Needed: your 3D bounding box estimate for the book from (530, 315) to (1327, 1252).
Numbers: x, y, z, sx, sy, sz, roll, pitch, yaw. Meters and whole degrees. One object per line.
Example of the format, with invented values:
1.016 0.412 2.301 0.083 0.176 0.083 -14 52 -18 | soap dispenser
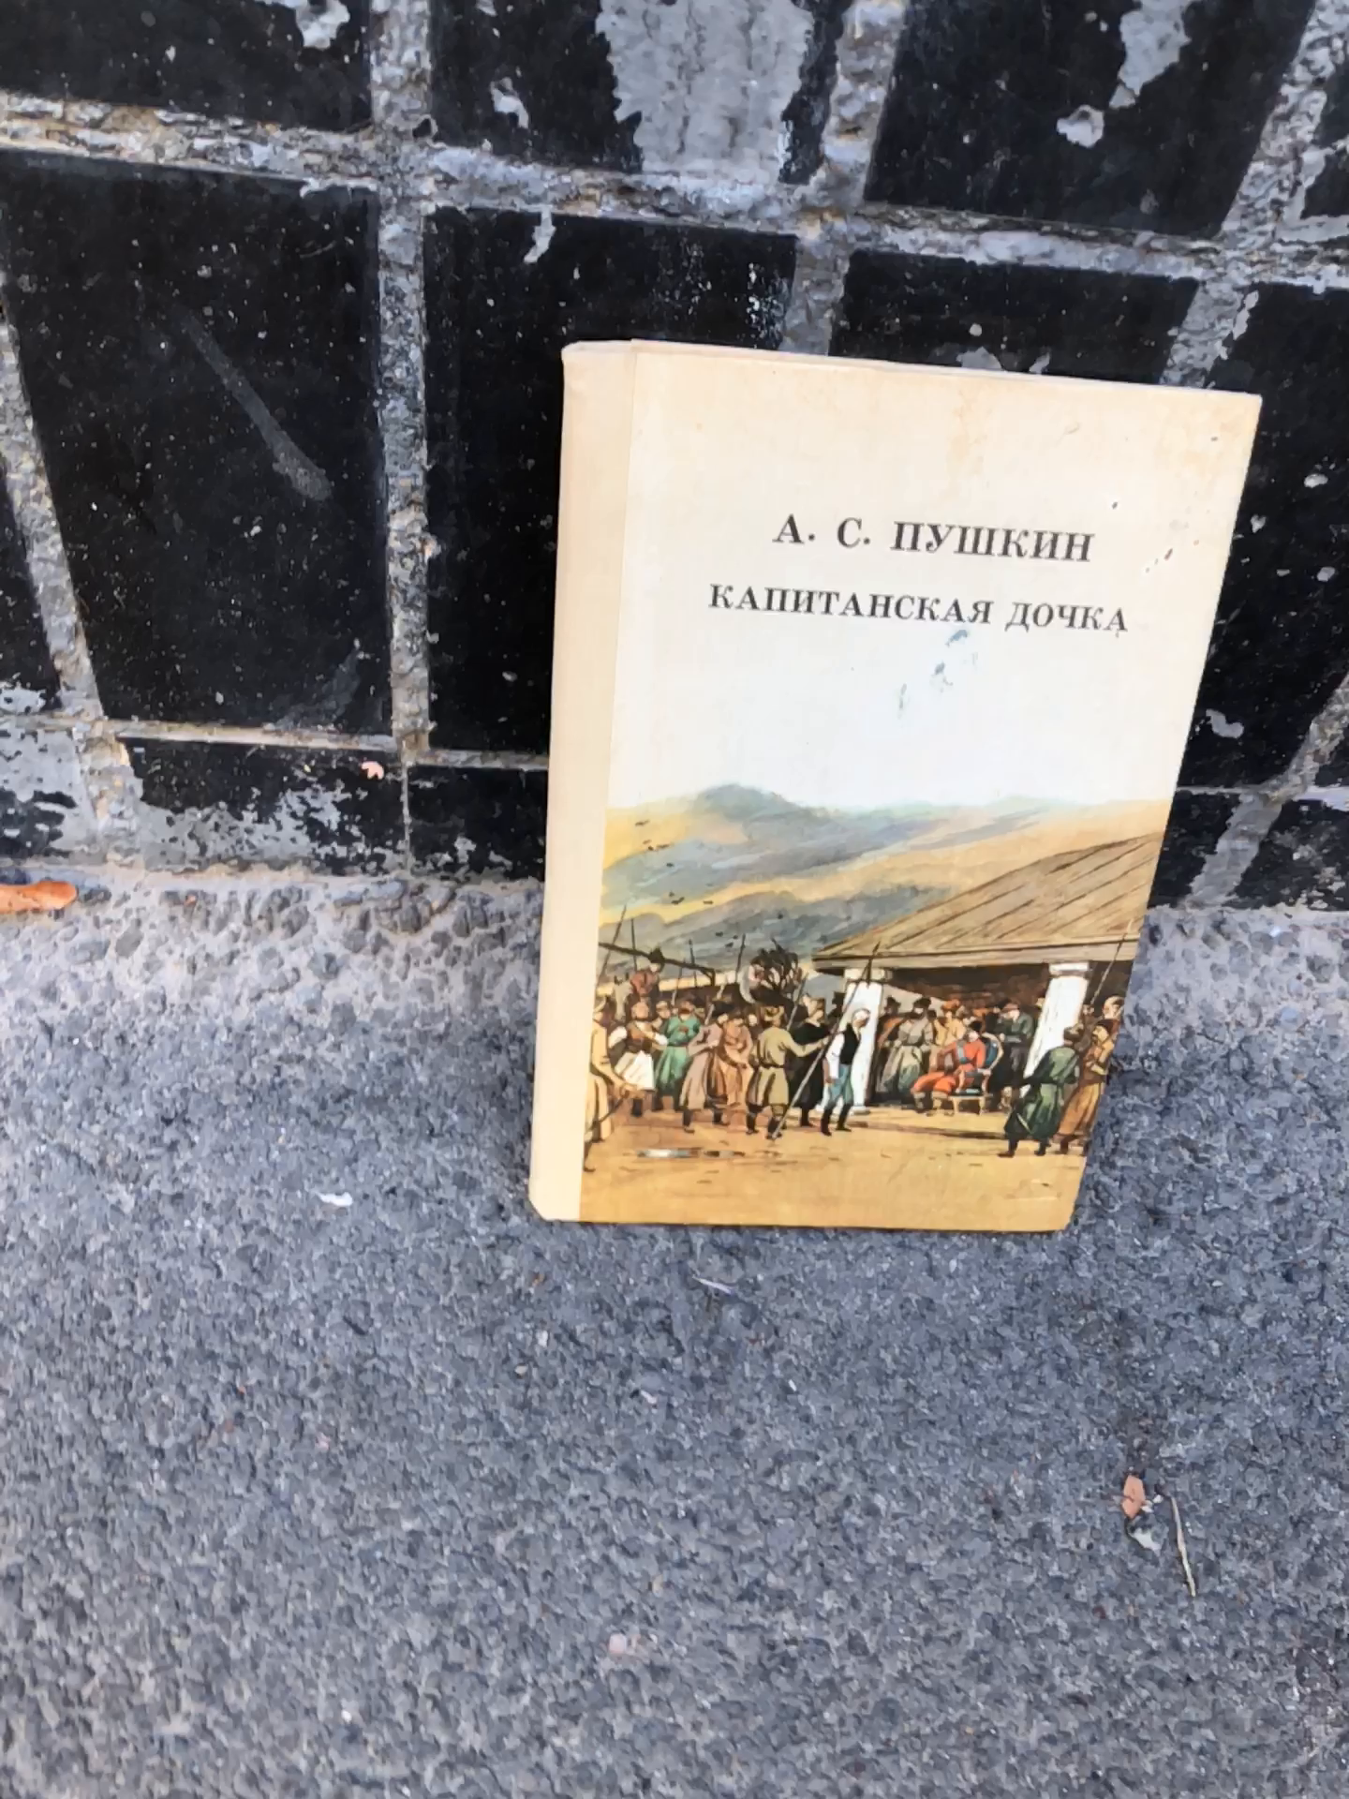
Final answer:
0.046 -0.012 0.345 0.145 0.215 0.023 3 27 -7 | book
